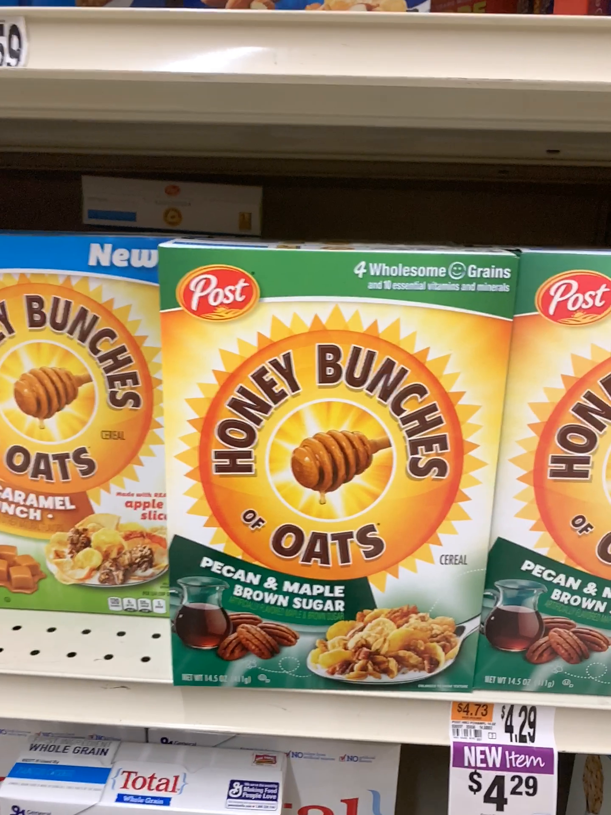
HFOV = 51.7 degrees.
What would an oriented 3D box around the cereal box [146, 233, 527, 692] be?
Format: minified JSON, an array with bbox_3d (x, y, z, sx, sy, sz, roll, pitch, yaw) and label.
[{"bbox_3d":[0.012,0.038,0.397,0.200,0.279,0.060,1,15,-1],"label":"cereal box"}]
